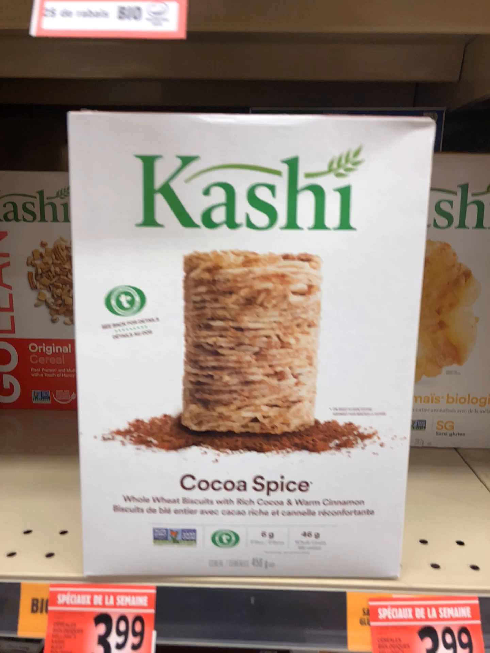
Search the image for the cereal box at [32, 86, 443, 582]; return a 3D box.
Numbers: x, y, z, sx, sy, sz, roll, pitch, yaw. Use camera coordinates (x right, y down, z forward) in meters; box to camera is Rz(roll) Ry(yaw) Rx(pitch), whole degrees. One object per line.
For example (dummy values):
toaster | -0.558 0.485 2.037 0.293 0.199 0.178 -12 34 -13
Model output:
cereal box | -0.005 0.010 0.329 0.210 0.279 0.060 1 10 0
